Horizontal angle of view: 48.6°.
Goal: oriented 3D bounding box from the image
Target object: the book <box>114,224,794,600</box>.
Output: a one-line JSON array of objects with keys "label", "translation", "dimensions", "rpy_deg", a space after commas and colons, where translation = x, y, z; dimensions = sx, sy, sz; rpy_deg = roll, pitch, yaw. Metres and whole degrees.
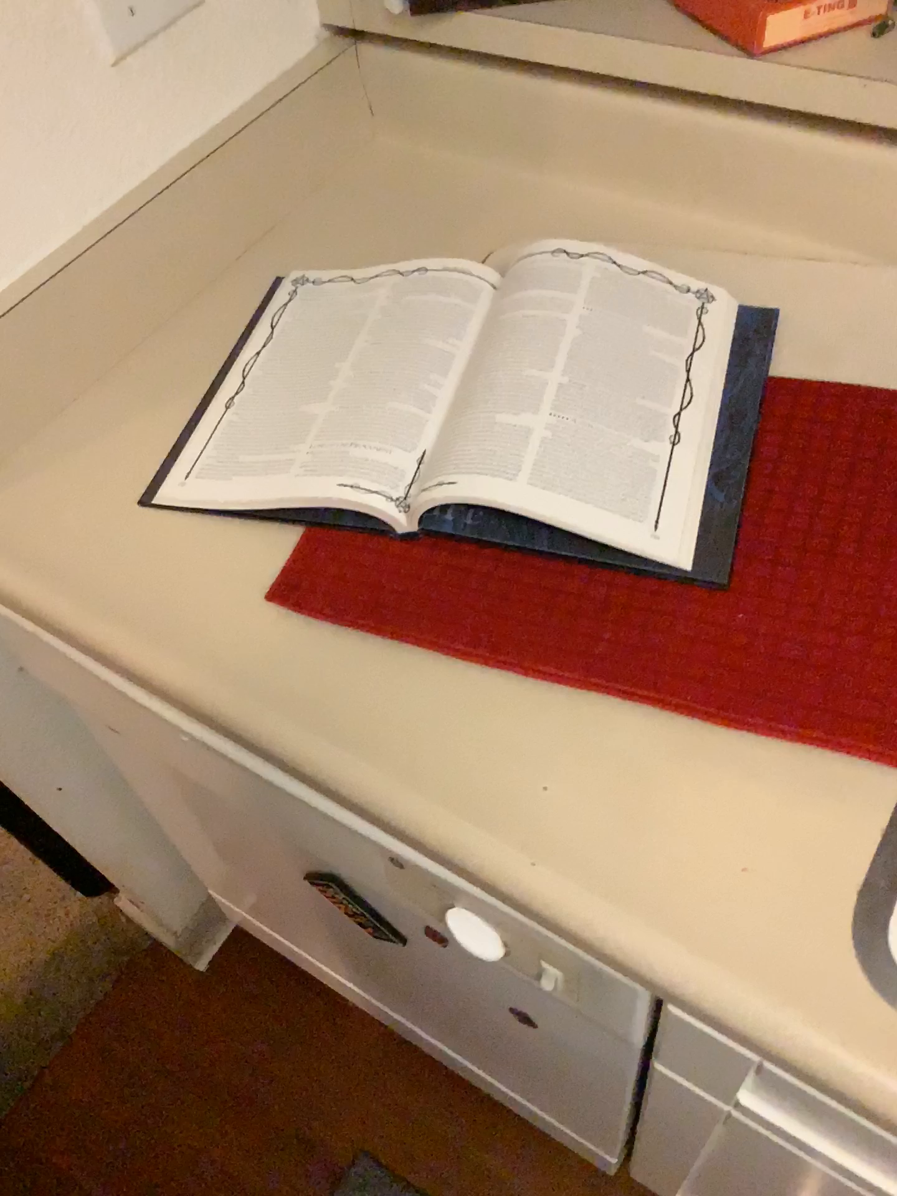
[{"label": "book", "translation": [0.016, -0.164, 0.763], "dimensions": [0.450, 0.060, 0.290], "rpy_deg": [9, 56, 14]}]
